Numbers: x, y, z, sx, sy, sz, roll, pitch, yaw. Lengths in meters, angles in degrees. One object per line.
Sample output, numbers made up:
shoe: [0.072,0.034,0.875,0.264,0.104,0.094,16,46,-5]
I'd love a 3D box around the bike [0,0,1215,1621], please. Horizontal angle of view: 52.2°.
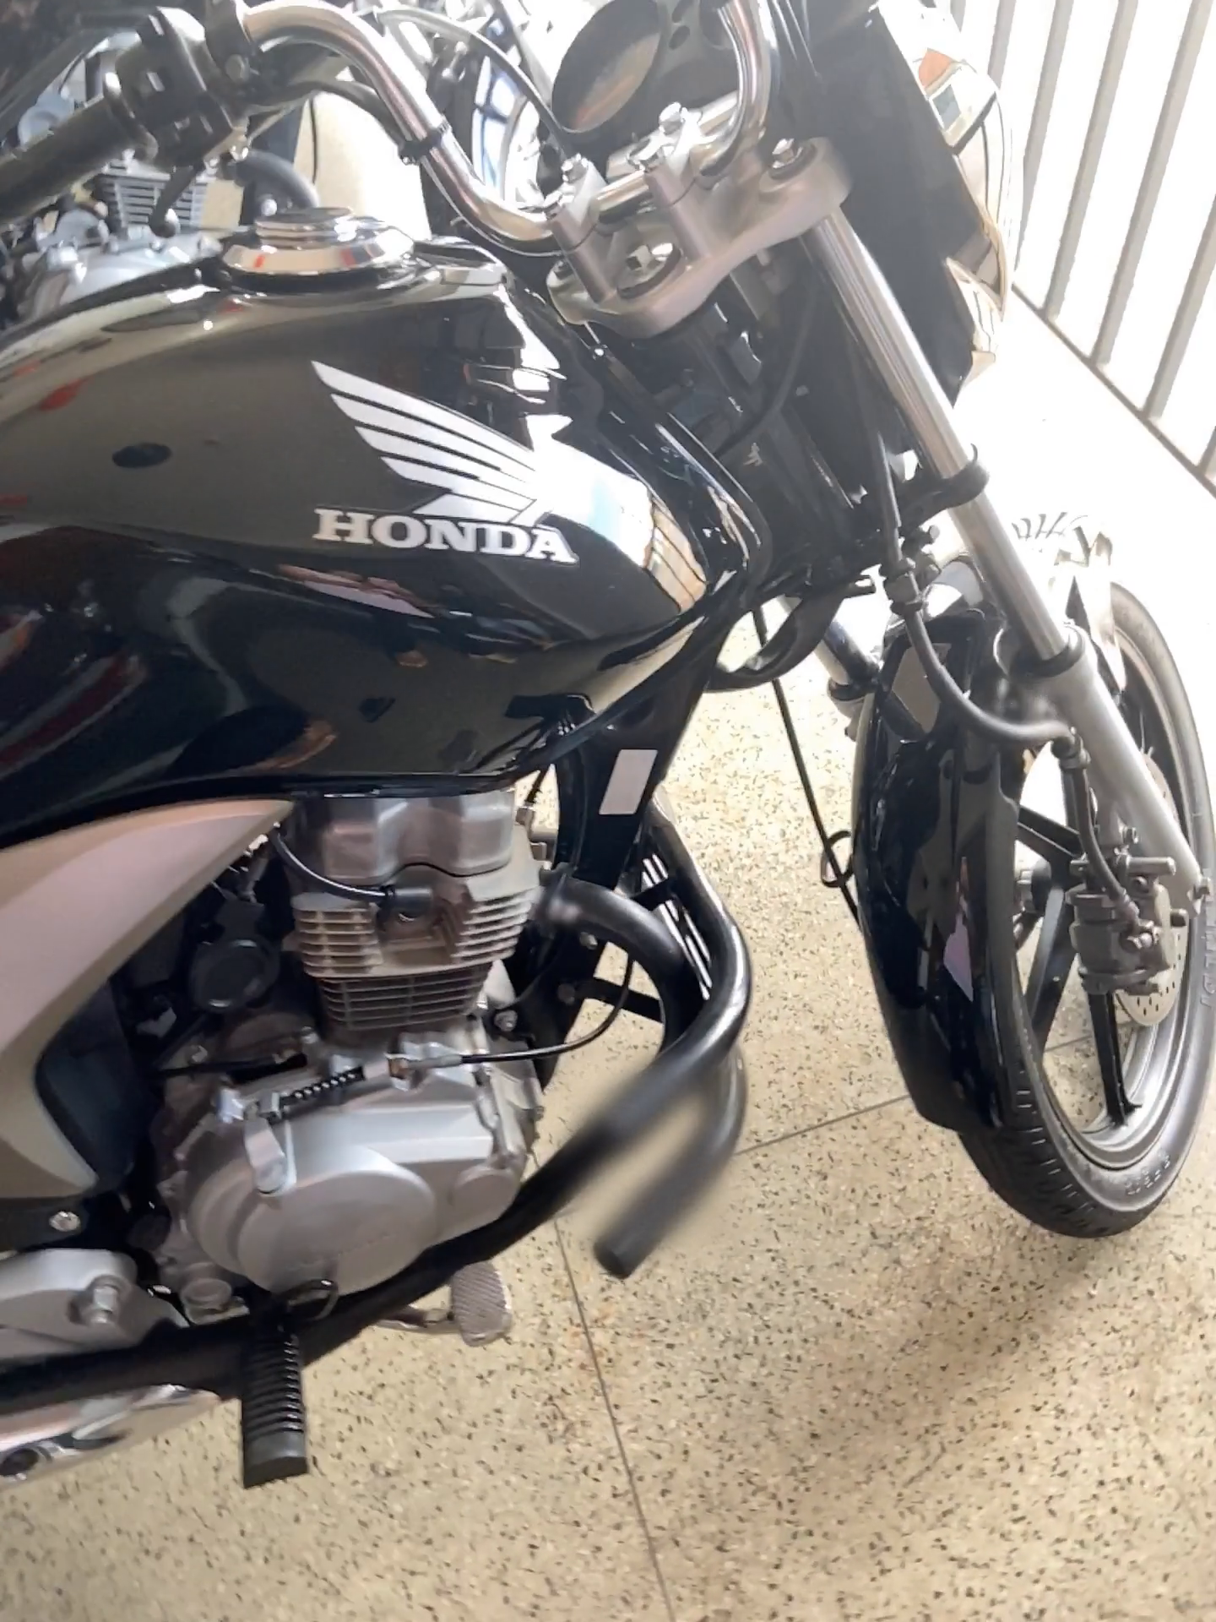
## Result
bike: [-0.305,-0.069,0.882,1.737,1.138,0.776,-19,53,-14]
